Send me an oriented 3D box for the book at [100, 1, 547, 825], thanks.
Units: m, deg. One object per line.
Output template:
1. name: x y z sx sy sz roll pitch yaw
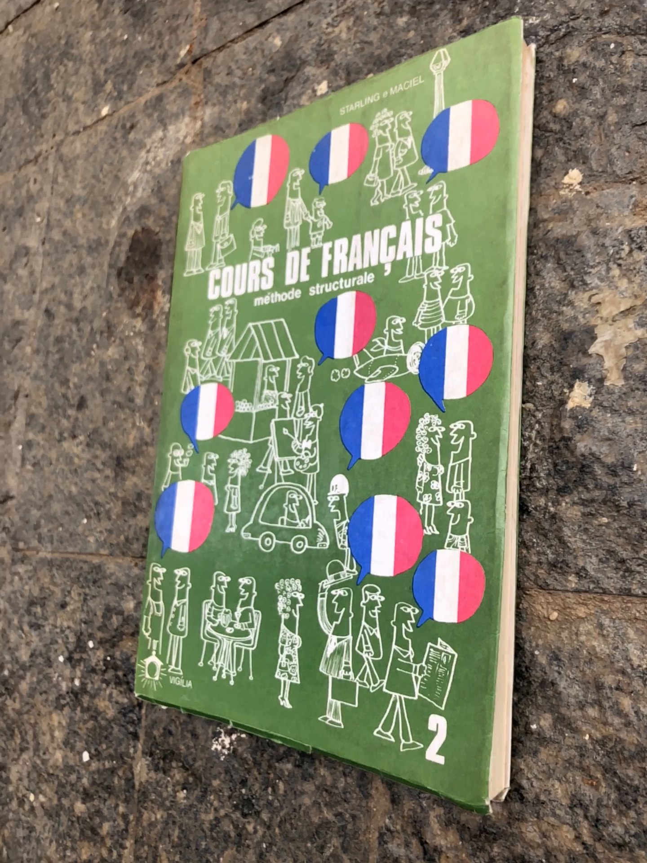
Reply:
1. book: -0.011 -0.009 0.242 0.167 0.013 0.211 -3 80 40
